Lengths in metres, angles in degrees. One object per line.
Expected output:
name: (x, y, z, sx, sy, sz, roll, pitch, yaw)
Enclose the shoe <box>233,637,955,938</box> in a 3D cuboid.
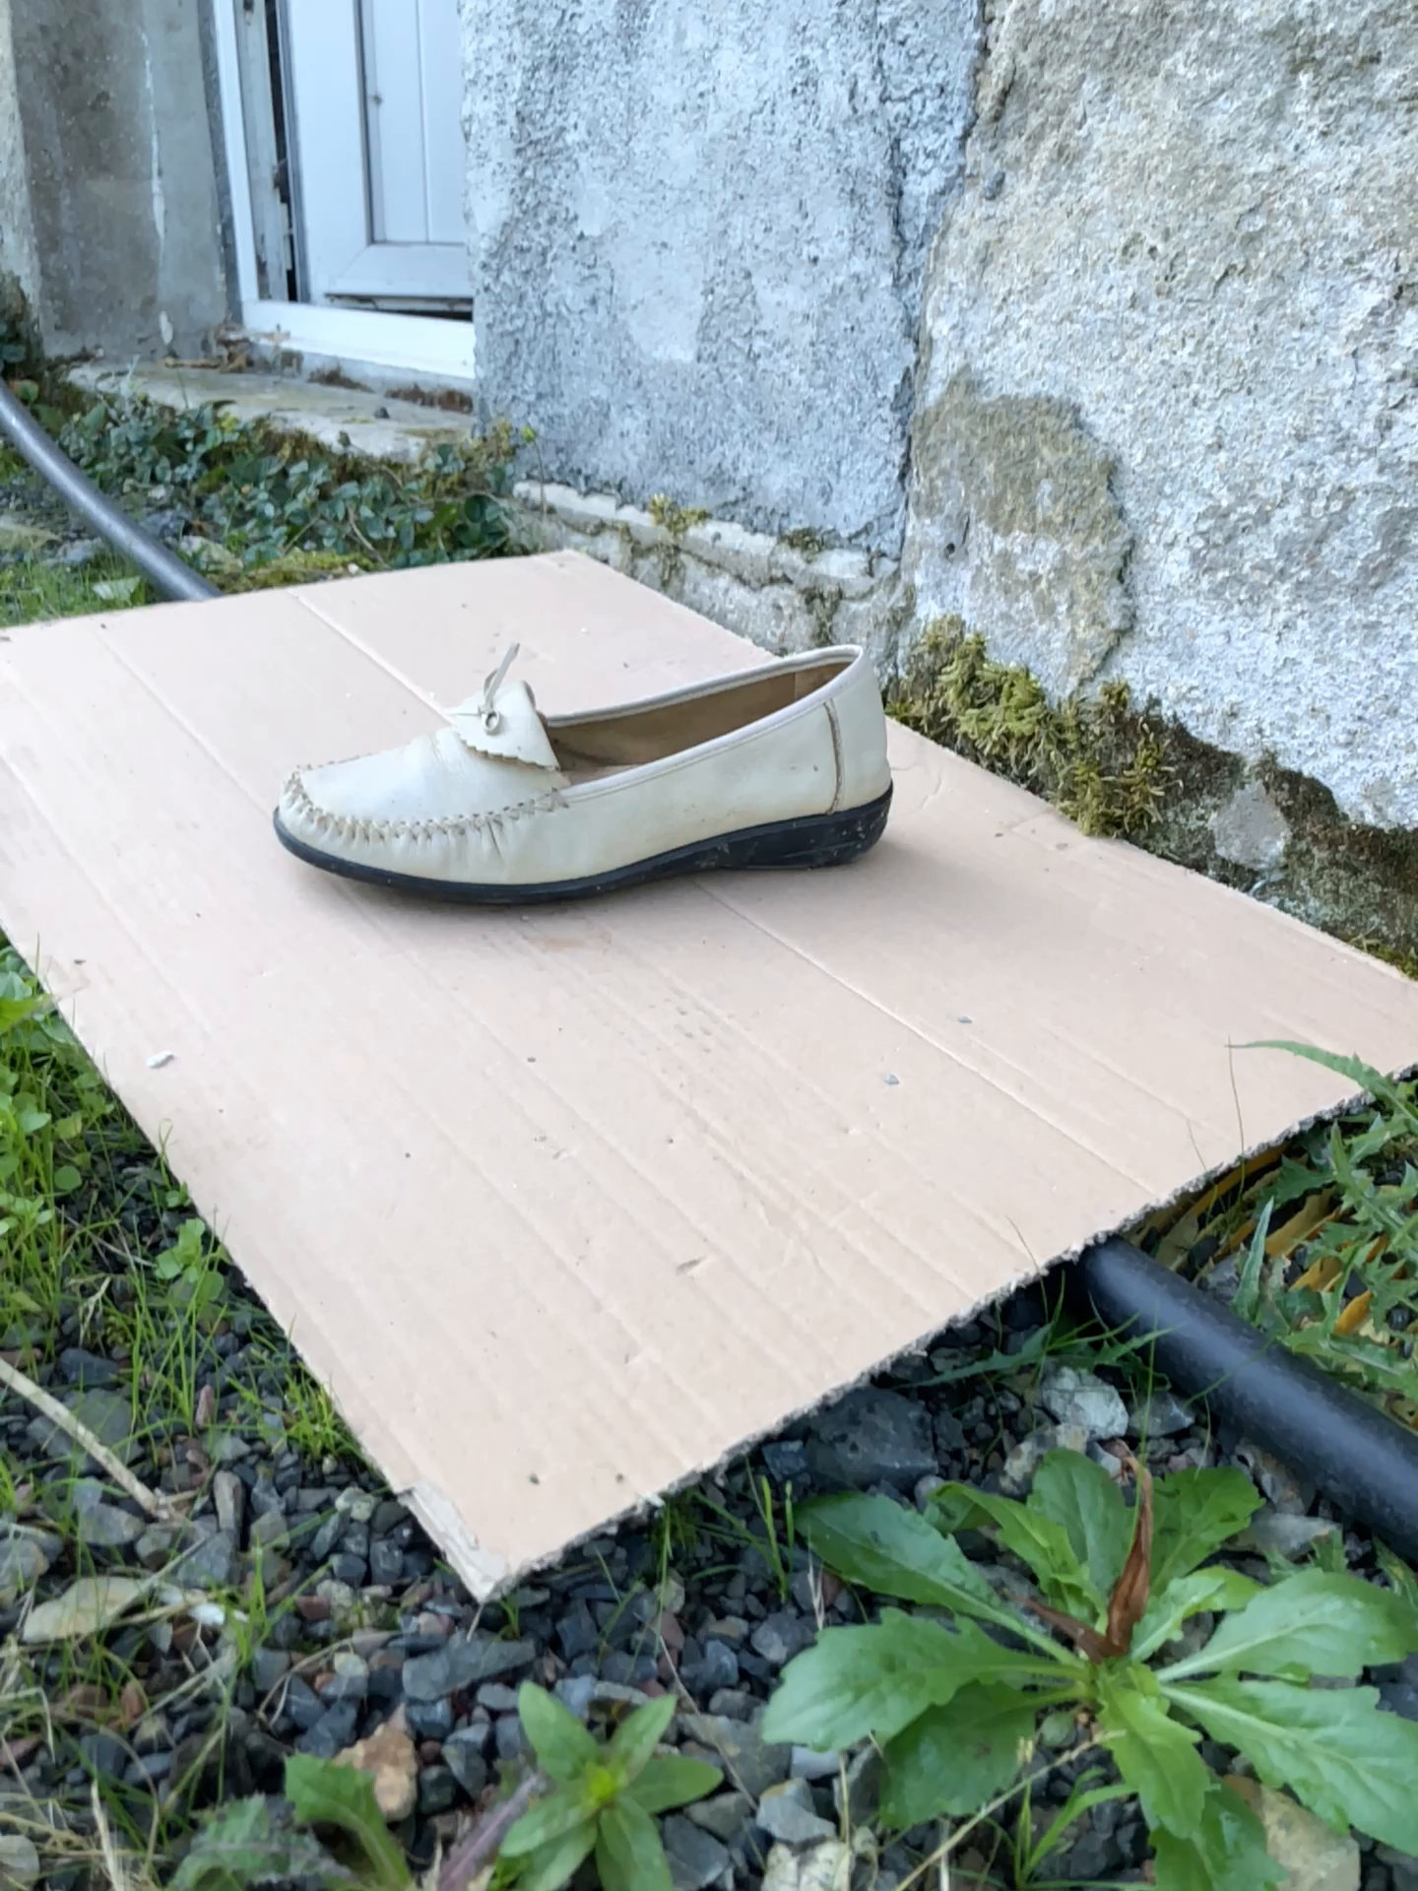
shoe: (-0.046, -0.068, 0.617, 0.260, 0.080, 0.100, -4, 24, -12)
